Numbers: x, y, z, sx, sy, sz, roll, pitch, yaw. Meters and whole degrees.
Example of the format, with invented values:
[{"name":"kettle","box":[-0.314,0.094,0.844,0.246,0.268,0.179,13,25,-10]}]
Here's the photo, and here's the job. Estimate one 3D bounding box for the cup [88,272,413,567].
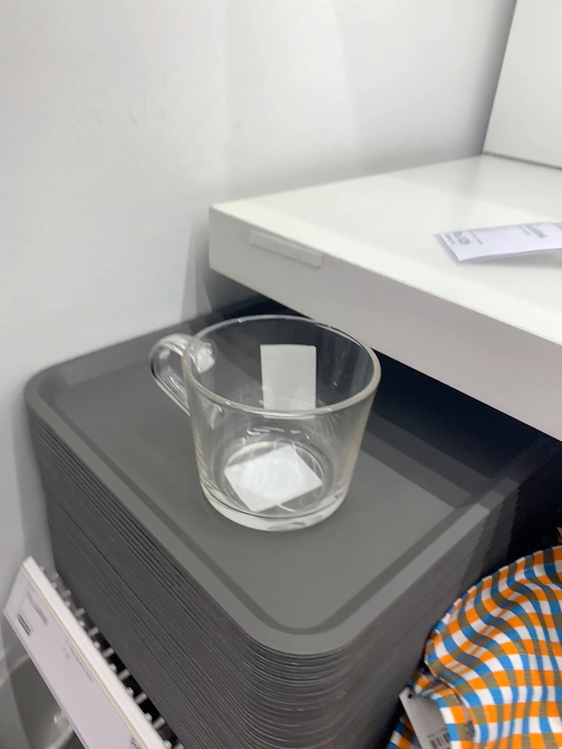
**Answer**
[{"name":"cup","box":[-0.017,0.012,0.315,0.130,0.080,0.100,24,36,29]}]
